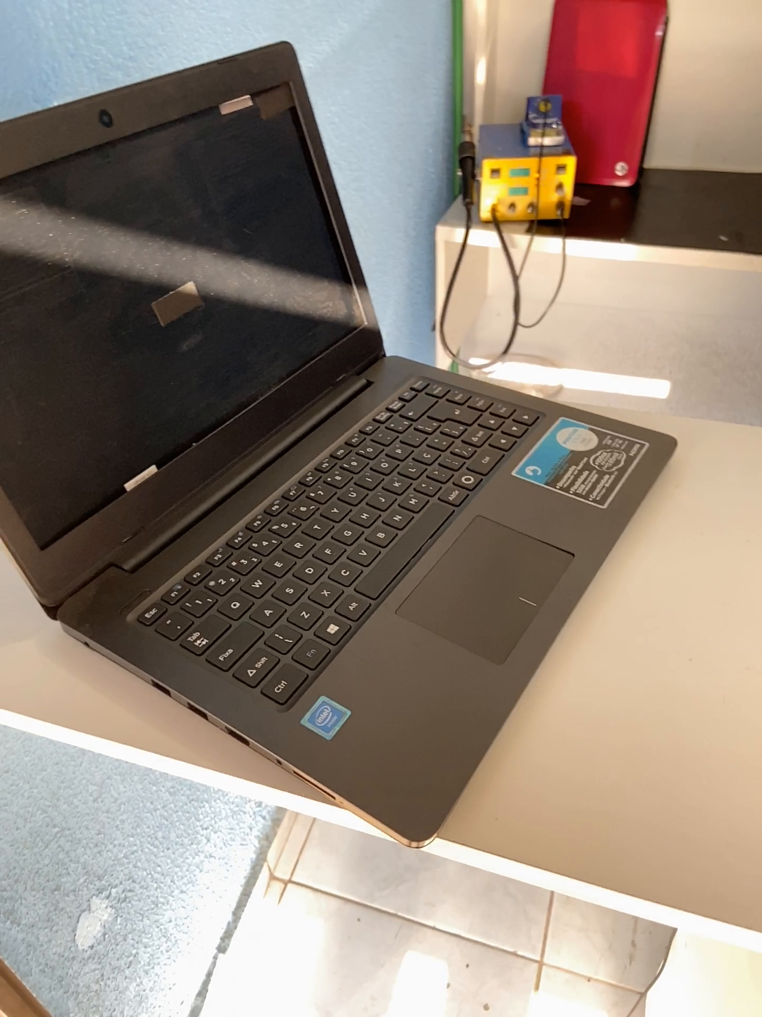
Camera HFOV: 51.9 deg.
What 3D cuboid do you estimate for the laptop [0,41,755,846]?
[{"bbox_3d":[-0.023,-0.091,0.433,0.310,0.214,0.339,22,46,26],"label":"laptop"}]
